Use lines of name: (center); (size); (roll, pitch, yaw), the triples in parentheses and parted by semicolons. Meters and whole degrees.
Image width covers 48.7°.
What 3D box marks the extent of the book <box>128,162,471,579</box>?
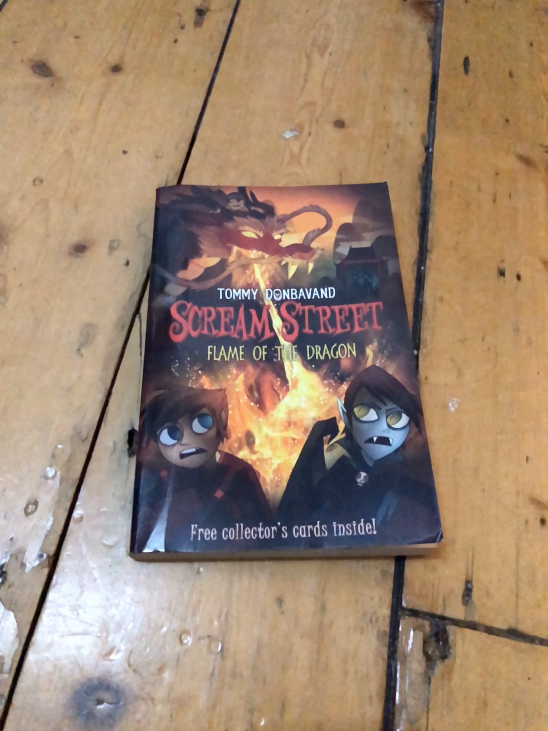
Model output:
book: (0.006, -0.007, 0.292); (0.130, 0.040, 0.201); (0, 63, -4)
